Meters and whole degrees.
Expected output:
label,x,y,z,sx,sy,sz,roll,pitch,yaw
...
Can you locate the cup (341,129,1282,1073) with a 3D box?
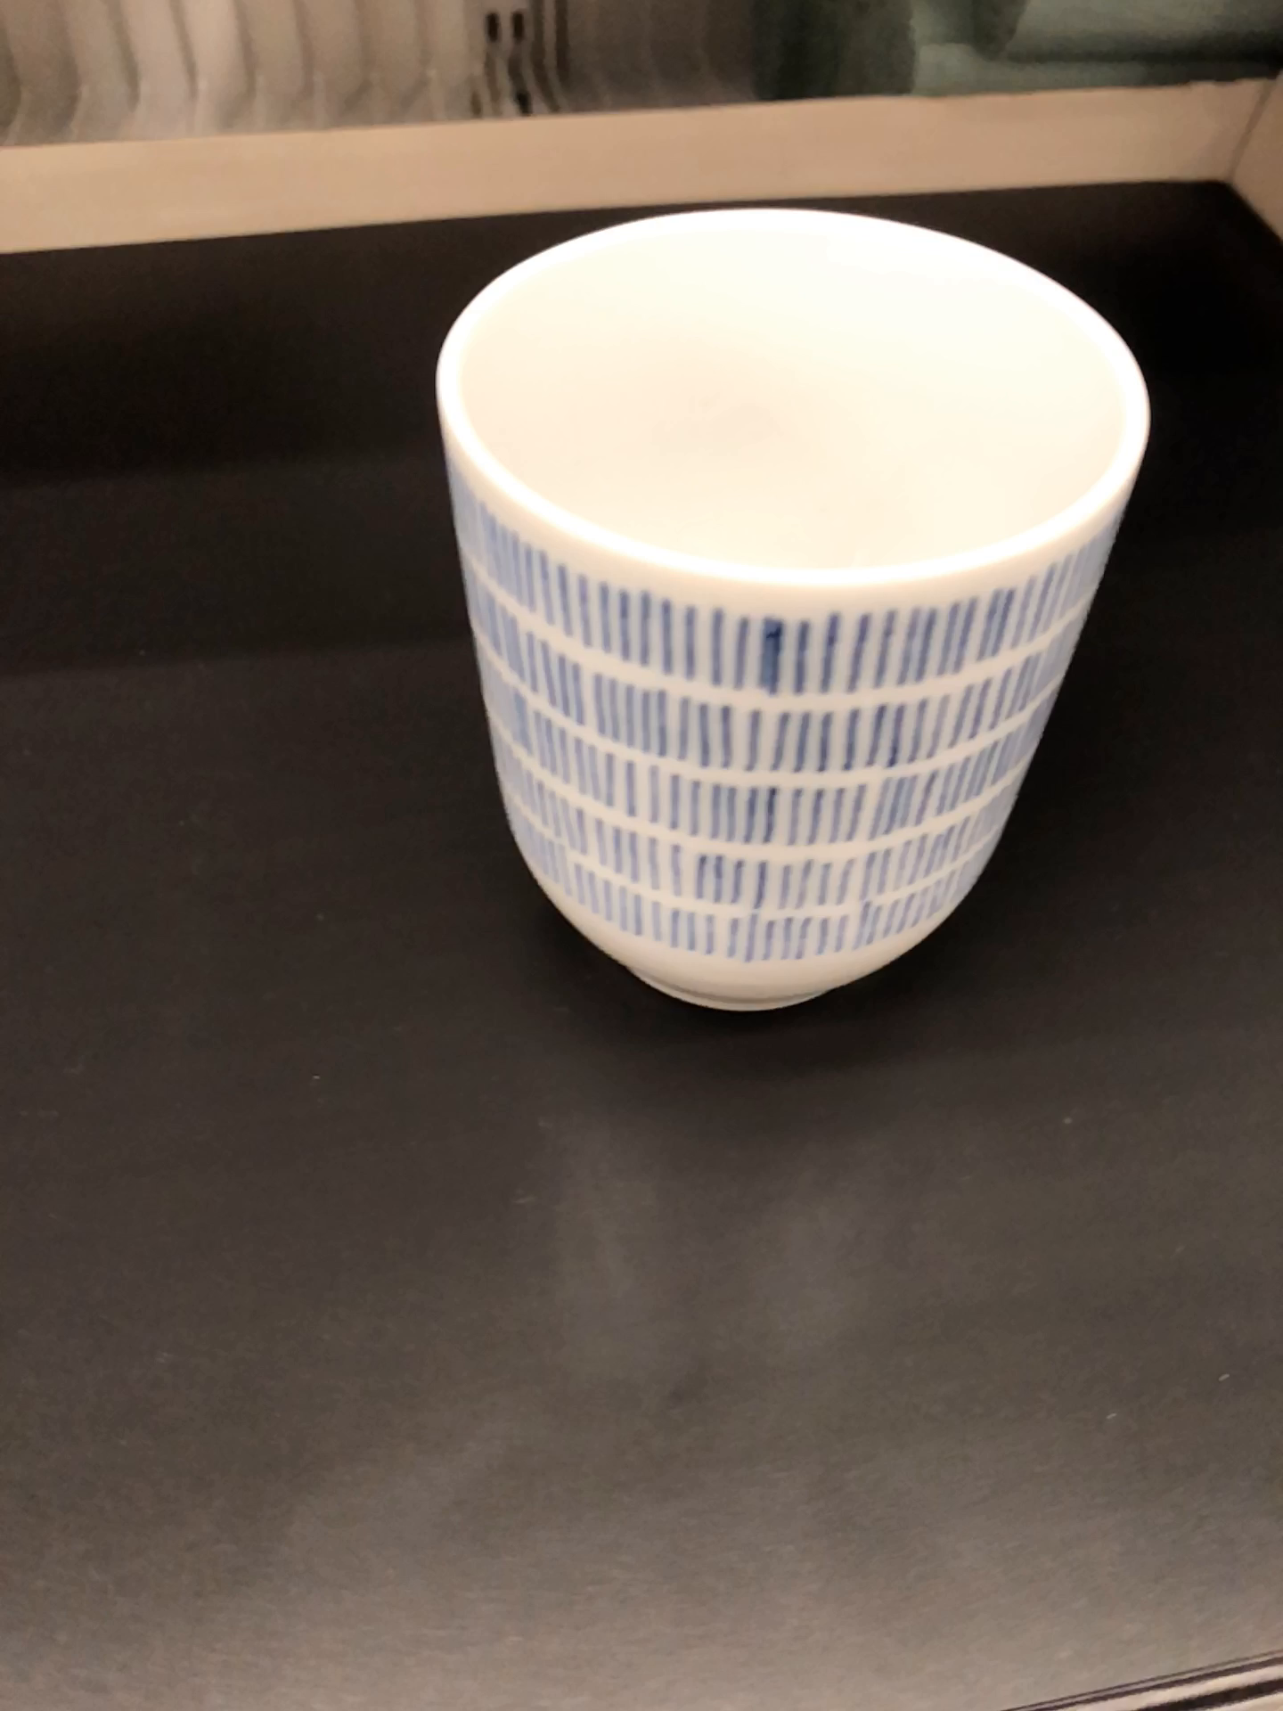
label,x,y,z,sx,sy,sz,roll,pitch,yaw
cup,0.013,-0.030,0.164,0.080,0.070,0.070,-7,47,-7
